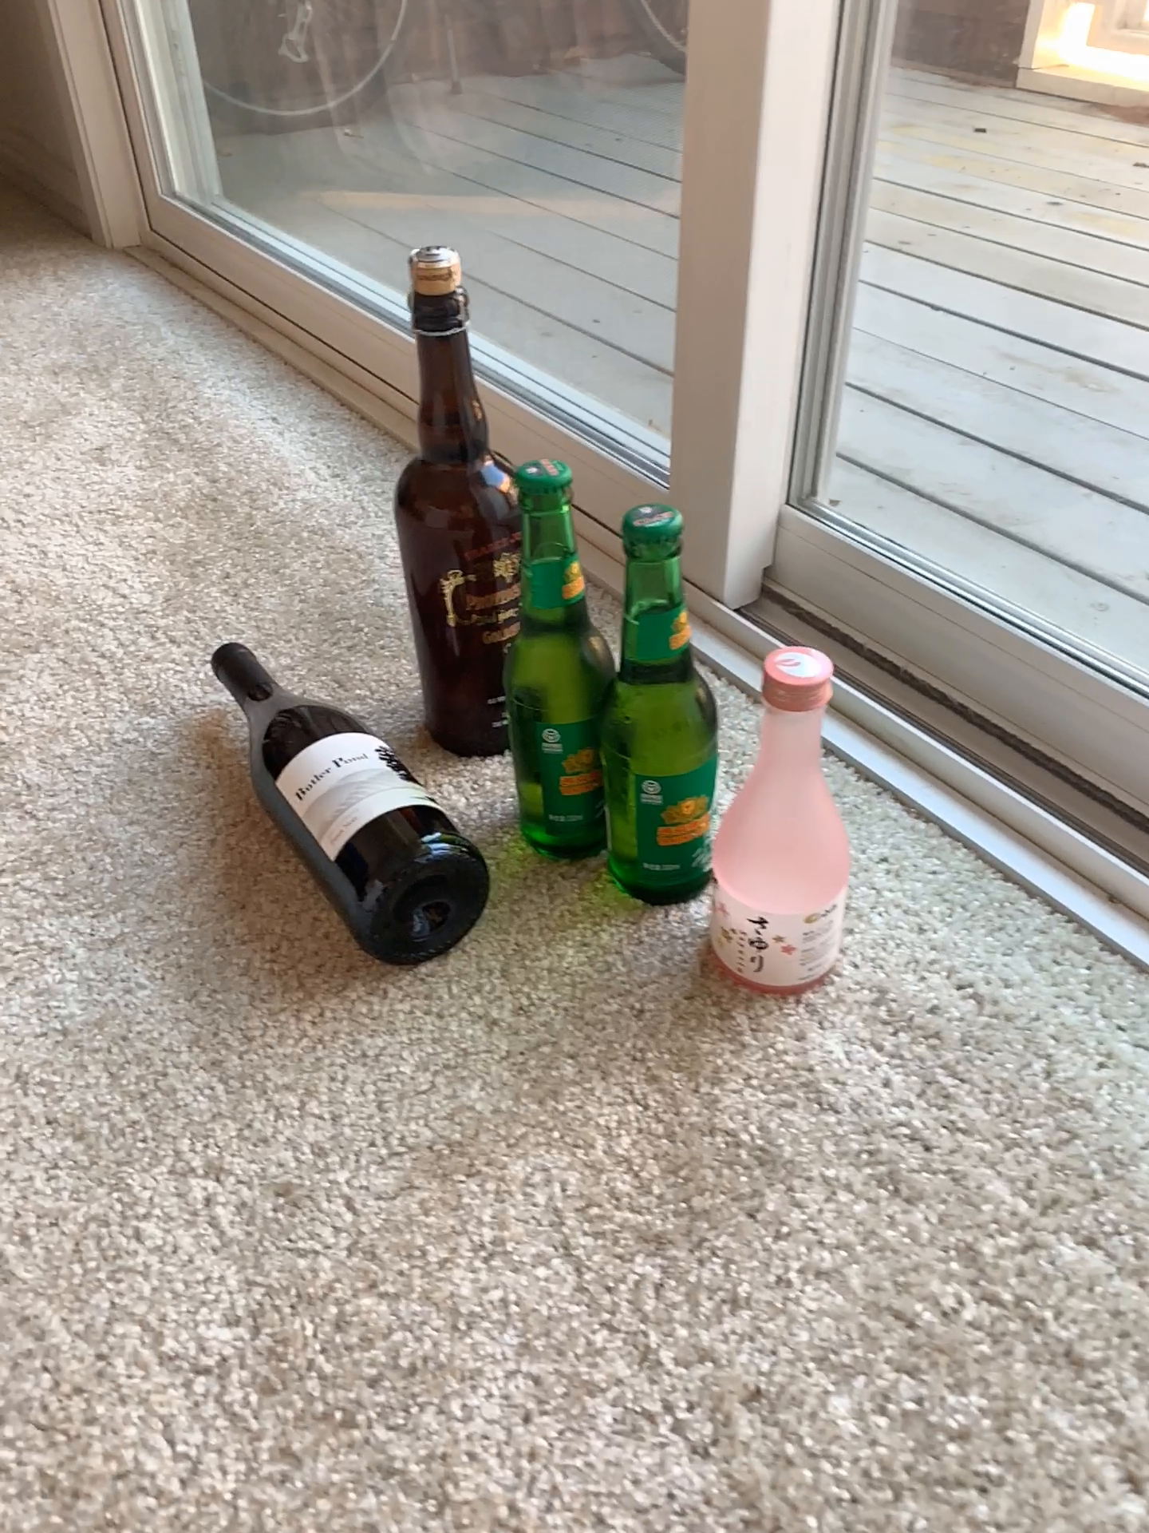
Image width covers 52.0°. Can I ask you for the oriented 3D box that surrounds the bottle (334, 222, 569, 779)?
[{"bbox_3d":[-0.061,-0.140,0.669,0.080,0.288,0.080,0,39,0],"label":"bottle"}]

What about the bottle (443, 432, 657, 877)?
[{"bbox_3d":[-0.011,-0.053,0.609,0.070,0.209,0.070,0,39,0],"label":"bottle"}]

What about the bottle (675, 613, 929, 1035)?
[{"bbox_3d":[0.101,0.030,0.558,0.070,0.179,0.070,0,39,0],"label":"bottle"}]

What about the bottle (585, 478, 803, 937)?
[{"bbox_3d":[0.054,-0.024,0.602,0.070,0.219,0.070,0,39,0],"label":"bottle"}]

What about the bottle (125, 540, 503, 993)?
[{"bbox_3d":[-0.149,-0.013,0.647,0.070,0.080,0.281,-26,52,-28],"label":"bottle"}]
